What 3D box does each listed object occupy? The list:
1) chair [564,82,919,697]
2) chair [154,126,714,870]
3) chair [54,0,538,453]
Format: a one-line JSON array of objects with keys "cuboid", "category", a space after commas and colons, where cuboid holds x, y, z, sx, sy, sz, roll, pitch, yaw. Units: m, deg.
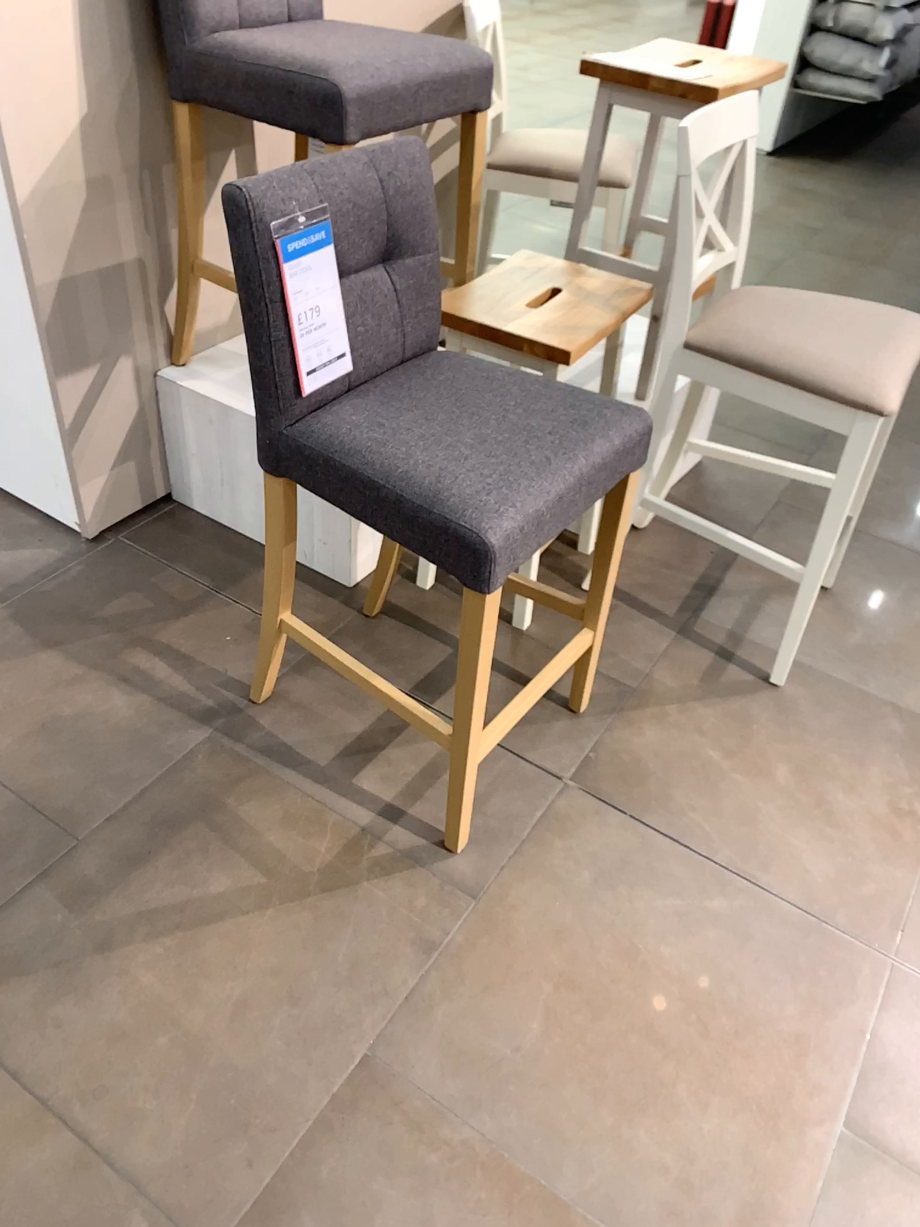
[{"cuboid": [0.604, -0.426, 1.828, 0.500, 0.938, 0.510, 25, 43, 23], "category": "chair"}, {"cuboid": [-0.046, -0.172, 1.470, 0.520, 0.908, 0.490, 26, 44, 24], "category": "chair"}, {"cuboid": [-0.273, -0.906, 1.798, 0.540, 0.918, 0.550, 25, 43, 23], "category": "chair"}]
